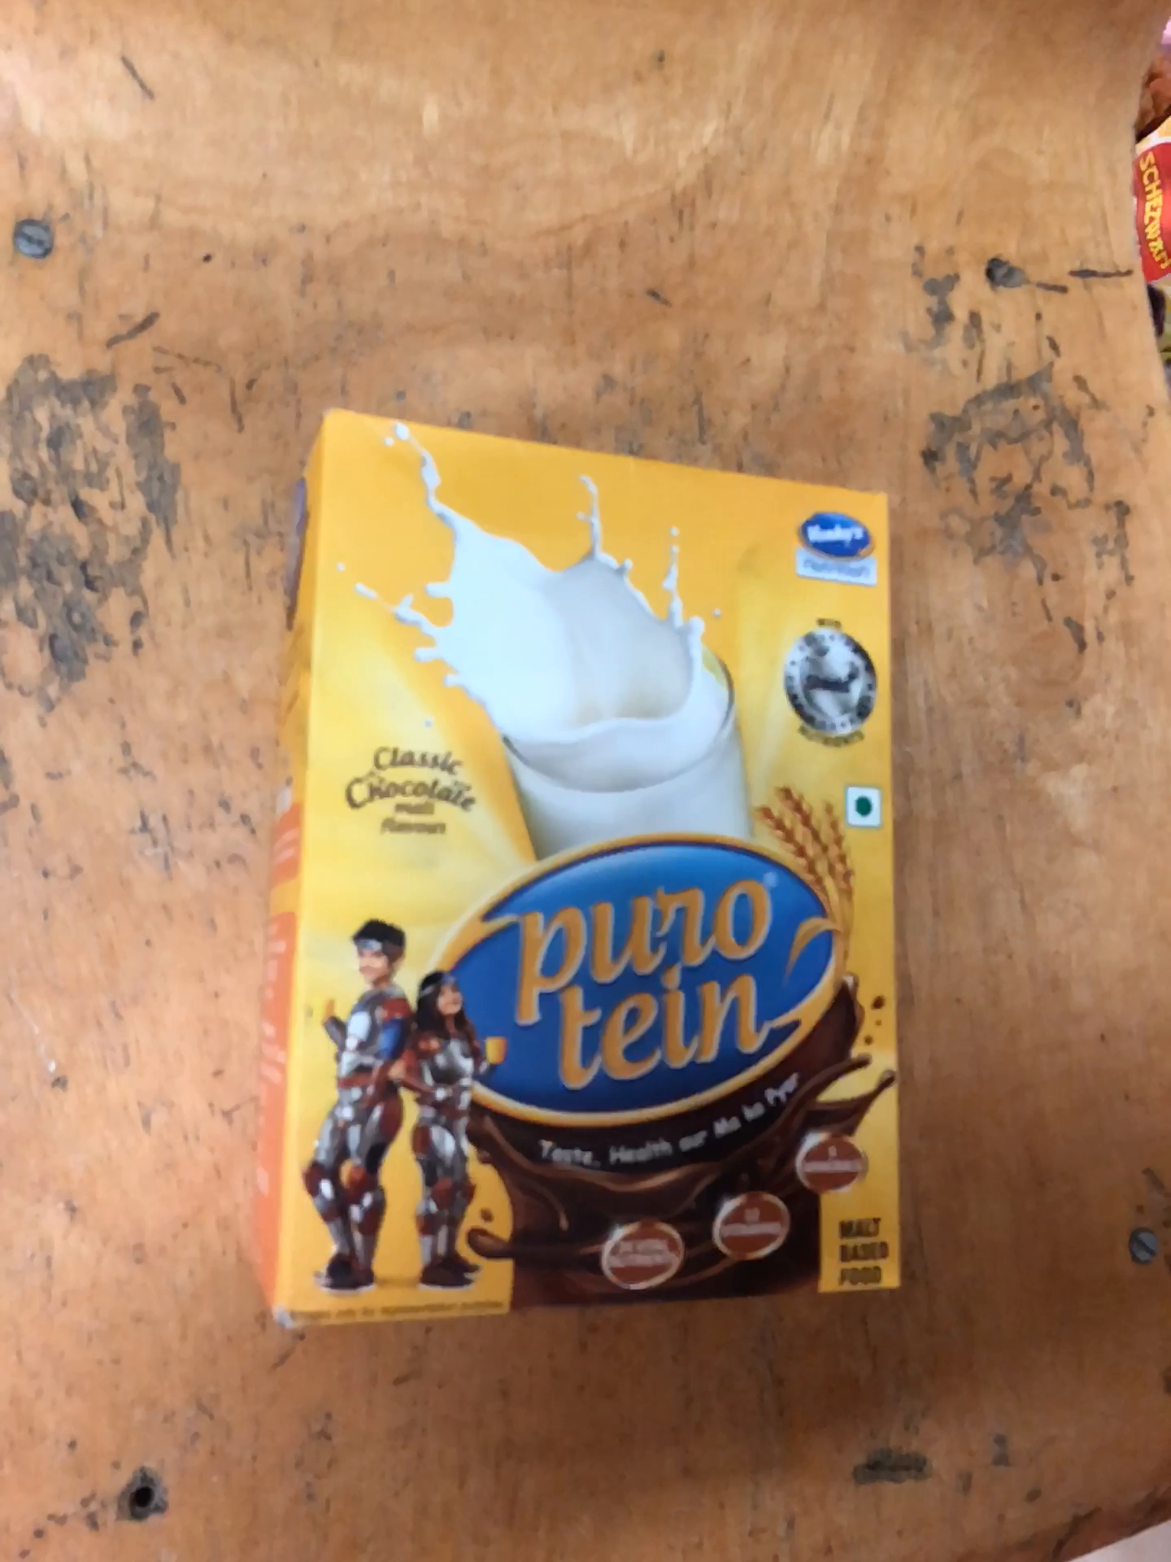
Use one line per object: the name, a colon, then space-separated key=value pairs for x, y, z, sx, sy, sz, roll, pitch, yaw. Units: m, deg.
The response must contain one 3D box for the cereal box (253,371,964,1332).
cereal box: x=0.003 y=0.018 z=0.299 sx=0.140 sy=0.080 sz=0.180 roll=4 pitch=81 yaw=-17
